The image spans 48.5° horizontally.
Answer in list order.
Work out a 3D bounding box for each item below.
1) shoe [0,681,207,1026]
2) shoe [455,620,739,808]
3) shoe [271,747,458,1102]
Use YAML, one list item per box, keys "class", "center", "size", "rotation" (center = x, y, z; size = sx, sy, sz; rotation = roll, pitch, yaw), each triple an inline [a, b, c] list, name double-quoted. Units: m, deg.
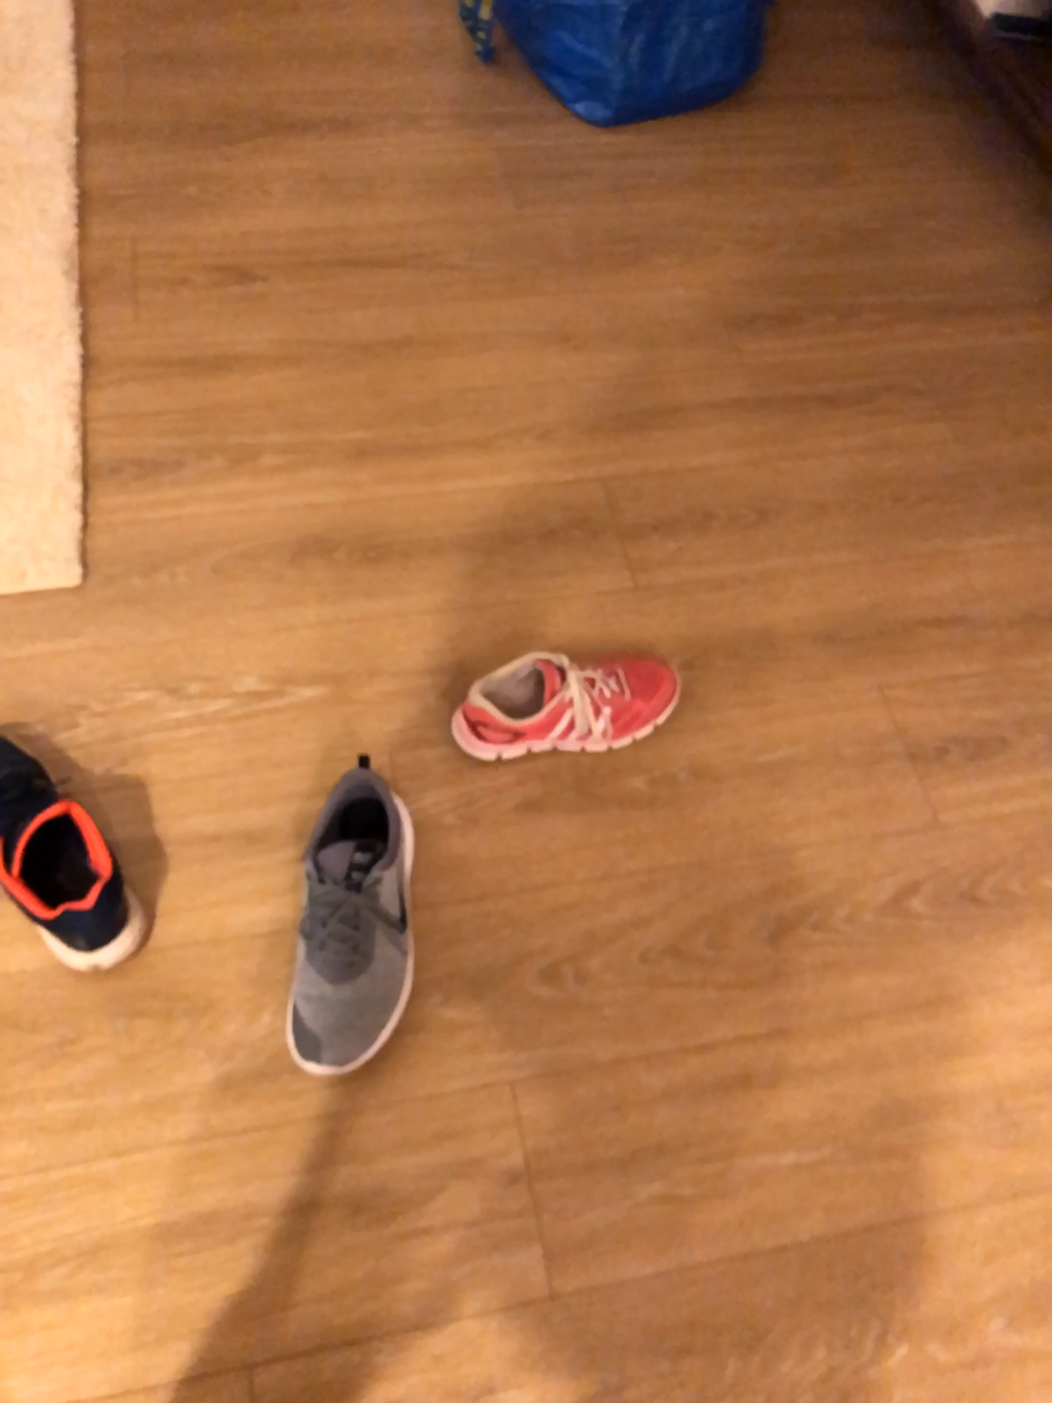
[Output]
- class: "shoe"
  center: [-0.471, 0.144, 1.155]
  size: [0.130, 0.100, 0.321]
  rotation: [-37, 67, -25]
- class: "shoe"
  center: [0.074, 0.012, 1.298]
  size: [0.280, 0.090, 0.130]
  rotation: [-11, 58, -13]
- class: "shoe"
  center: [-0.148, 0.208, 1.130]
  size: [0.130, 0.080, 0.321]
  rotation: [6, 56, -2]
